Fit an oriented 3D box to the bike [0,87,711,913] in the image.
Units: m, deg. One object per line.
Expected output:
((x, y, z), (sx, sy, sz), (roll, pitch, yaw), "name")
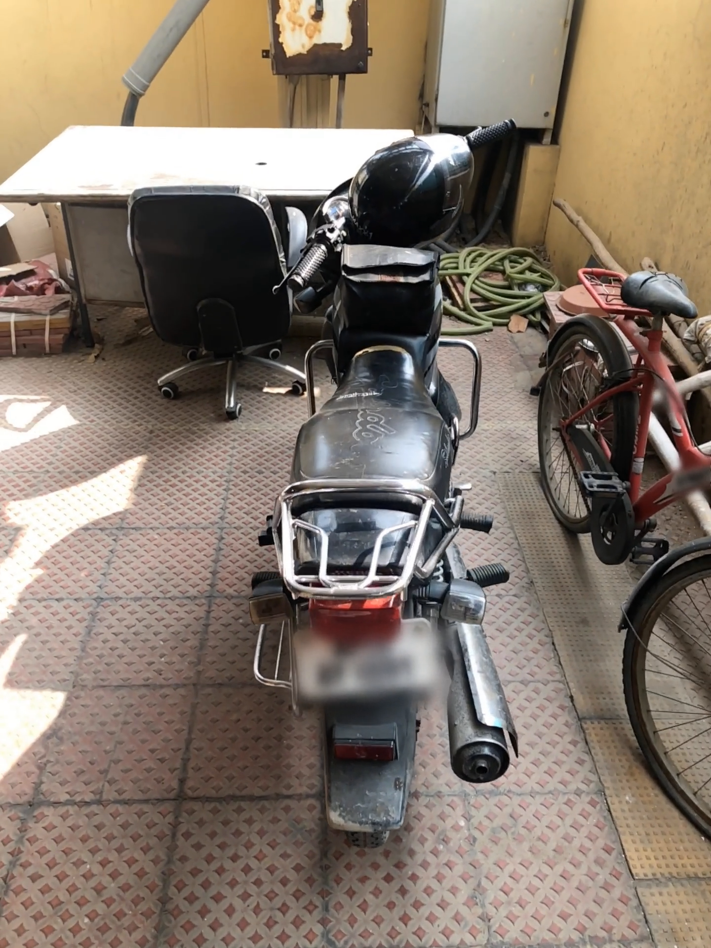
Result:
((-0.095, -0.143, 1.728), (0.713, 1.027, 1.624), (-1, 35, -4), "bike")
